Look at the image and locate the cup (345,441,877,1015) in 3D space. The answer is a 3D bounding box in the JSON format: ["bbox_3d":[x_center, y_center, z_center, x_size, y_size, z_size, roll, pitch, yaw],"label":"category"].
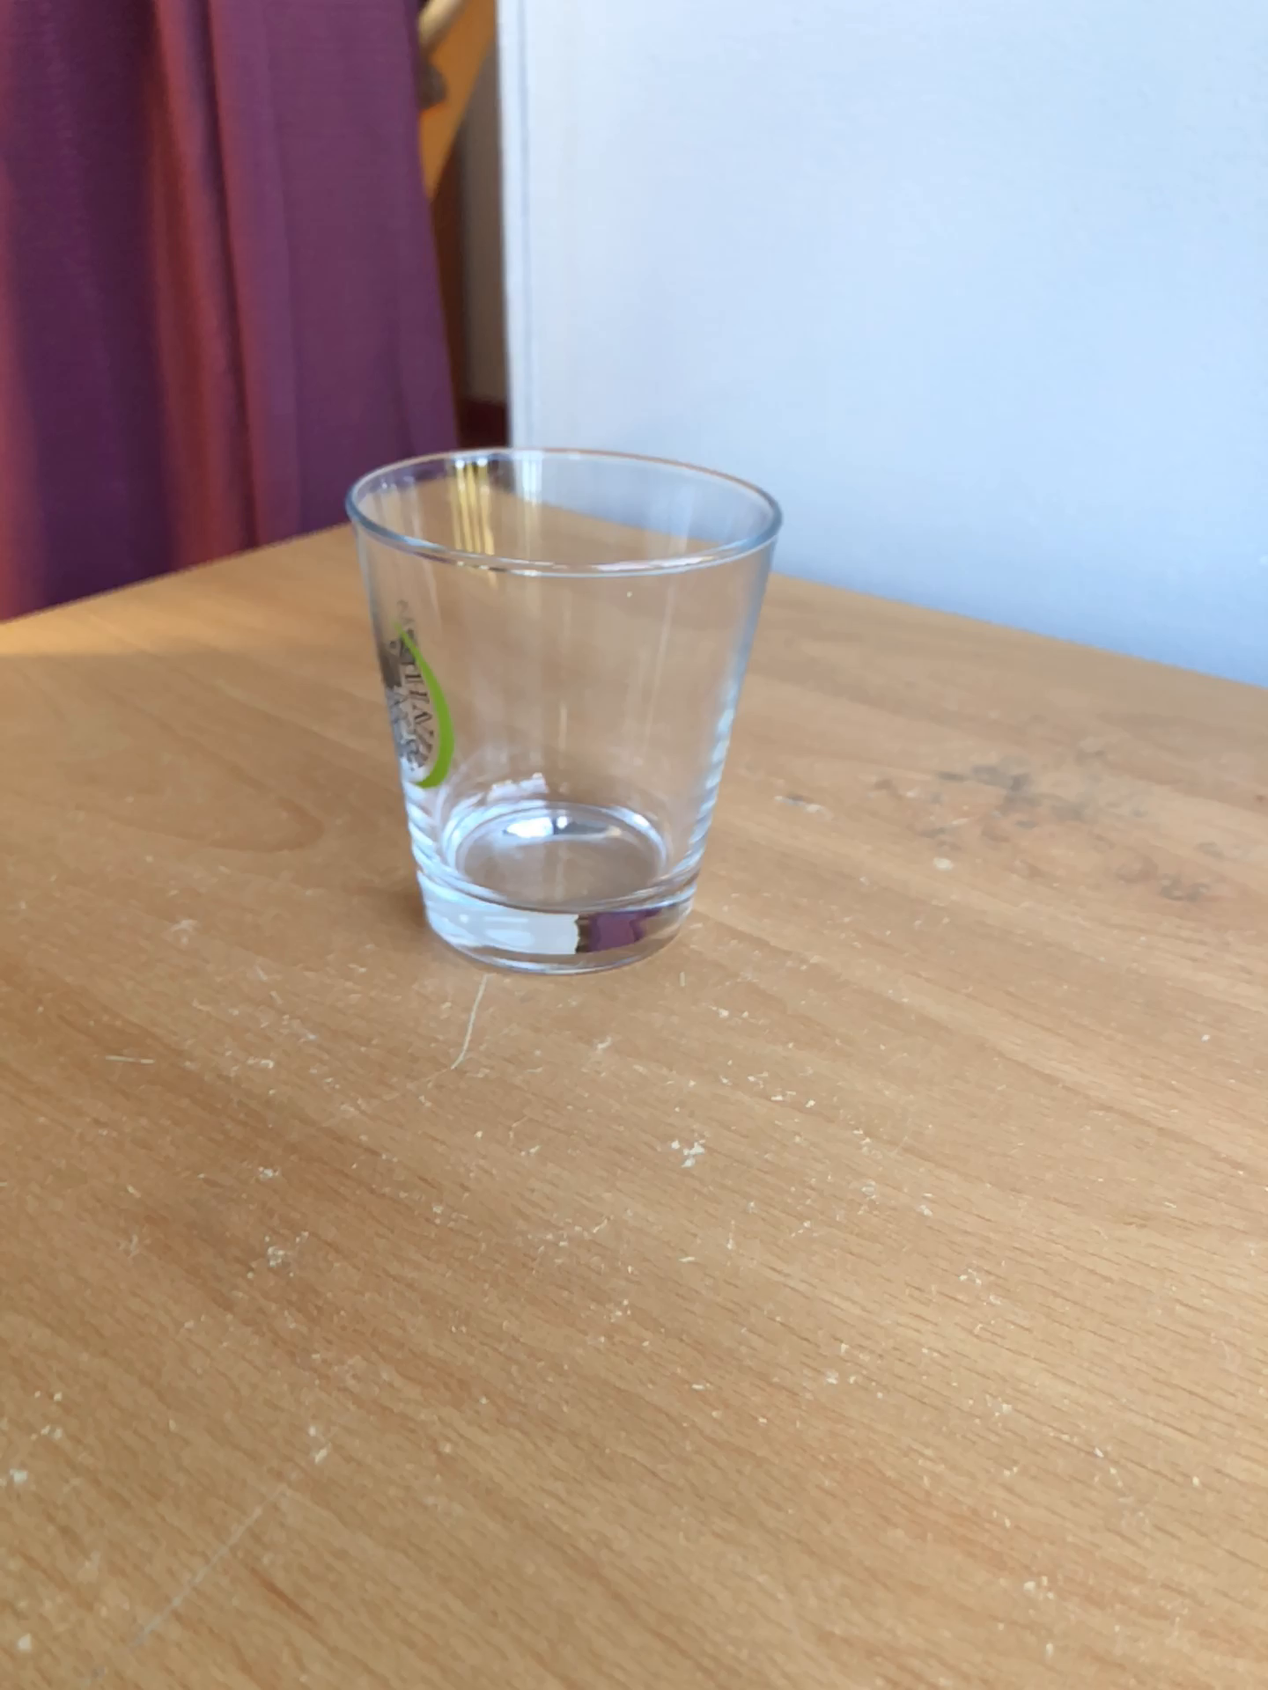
[{"bbox_3d":[-0.010,-0.026,0.251,0.076,0.073,0.079,2,27,-1],"label":"cup"}]
